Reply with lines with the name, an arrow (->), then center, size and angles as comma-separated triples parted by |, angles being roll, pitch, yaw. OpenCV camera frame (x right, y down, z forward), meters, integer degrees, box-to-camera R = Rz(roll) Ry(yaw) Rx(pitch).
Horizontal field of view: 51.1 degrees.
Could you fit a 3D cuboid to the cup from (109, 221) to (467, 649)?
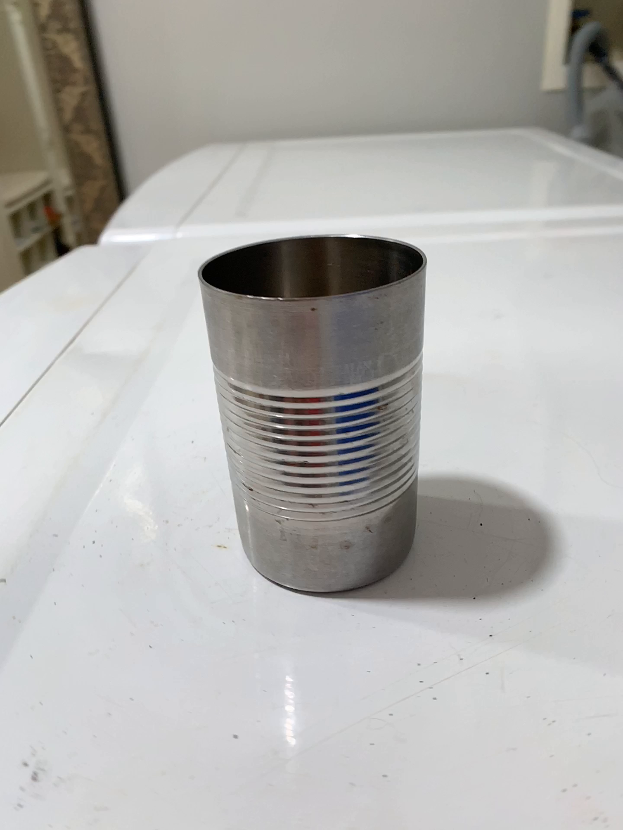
cup -> -0.001, -0.001, 0.199 | 0.070, 0.095, 0.070 | -3, 29, 1
